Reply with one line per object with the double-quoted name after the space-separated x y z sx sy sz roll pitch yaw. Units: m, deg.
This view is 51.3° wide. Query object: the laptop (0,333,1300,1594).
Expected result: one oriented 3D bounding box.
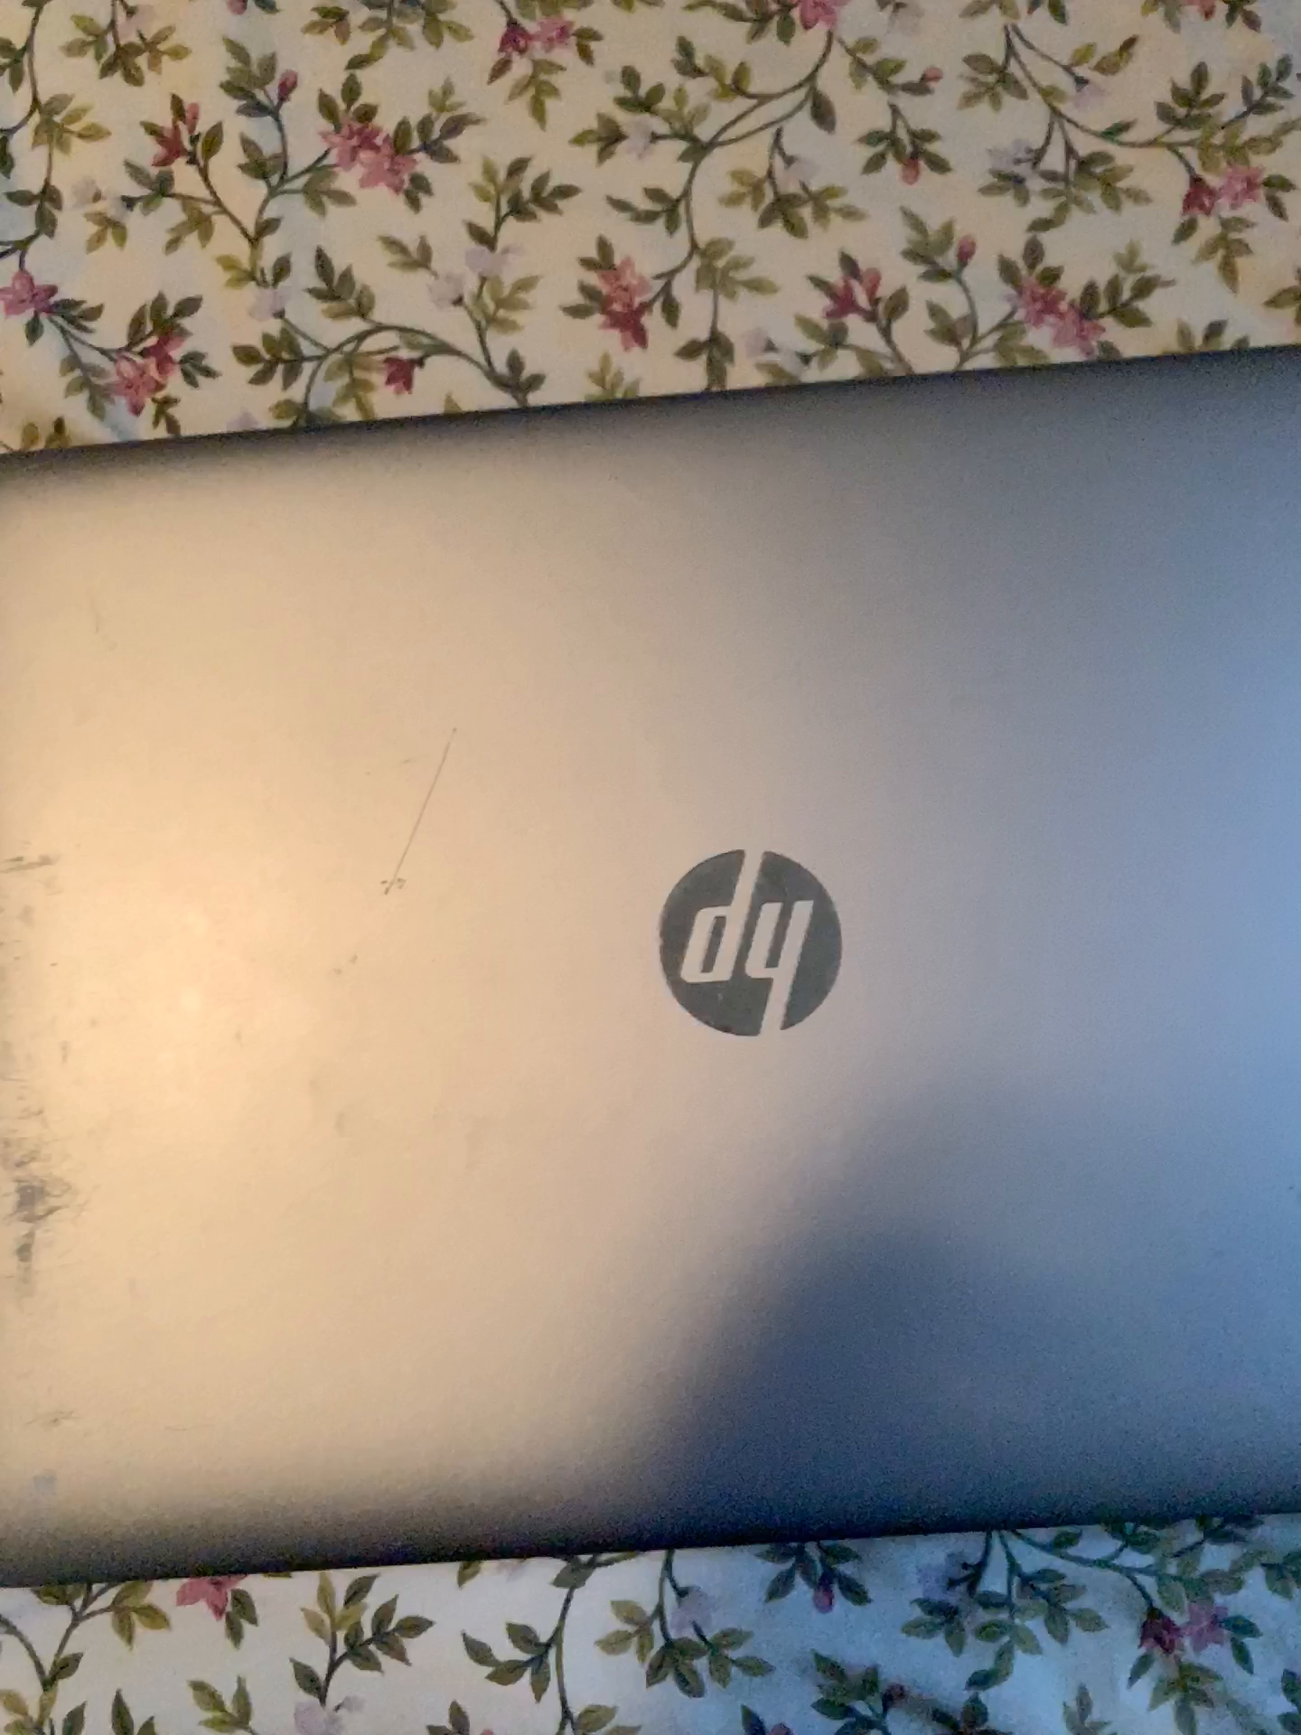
0.019 0.013 0.275 0.336 0.010 0.228 -4 80 1 "laptop"
